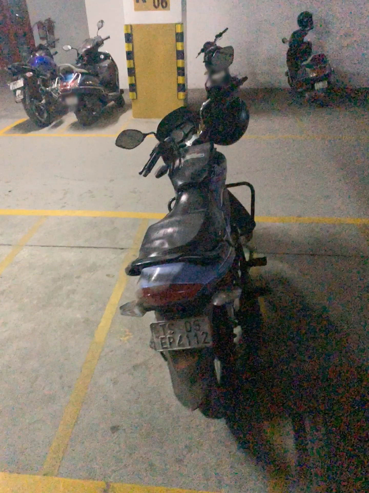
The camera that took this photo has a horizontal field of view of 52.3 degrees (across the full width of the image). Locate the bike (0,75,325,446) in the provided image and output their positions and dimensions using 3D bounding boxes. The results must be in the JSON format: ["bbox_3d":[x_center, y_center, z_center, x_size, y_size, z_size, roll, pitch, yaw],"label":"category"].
[{"bbox_3d":[-0.085,-0.159,1.918,0.780,1.108,1.710,-1,31,0],"label":"bike"}]
